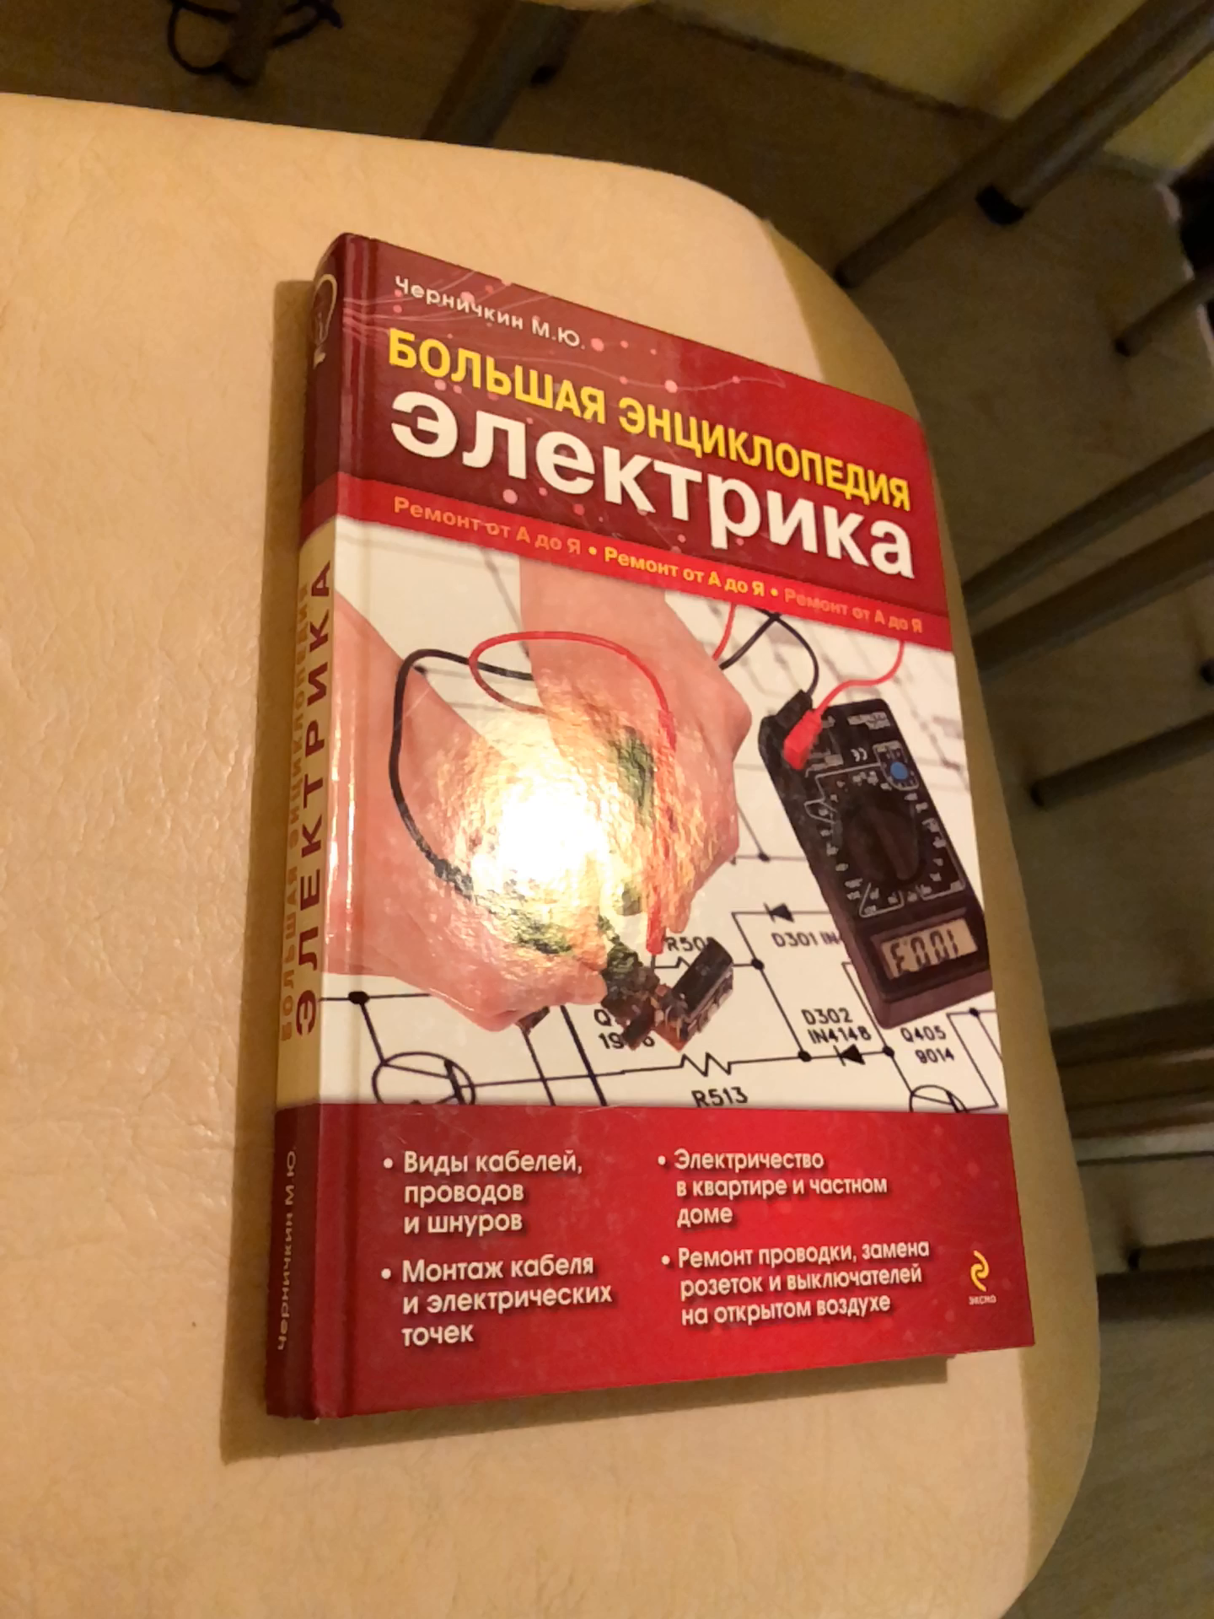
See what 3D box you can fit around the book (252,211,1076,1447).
[{"bbox_3d":[0.016,0.001,0.303,0.173,0.030,0.241,8,70,-28],"label":"book"}]
